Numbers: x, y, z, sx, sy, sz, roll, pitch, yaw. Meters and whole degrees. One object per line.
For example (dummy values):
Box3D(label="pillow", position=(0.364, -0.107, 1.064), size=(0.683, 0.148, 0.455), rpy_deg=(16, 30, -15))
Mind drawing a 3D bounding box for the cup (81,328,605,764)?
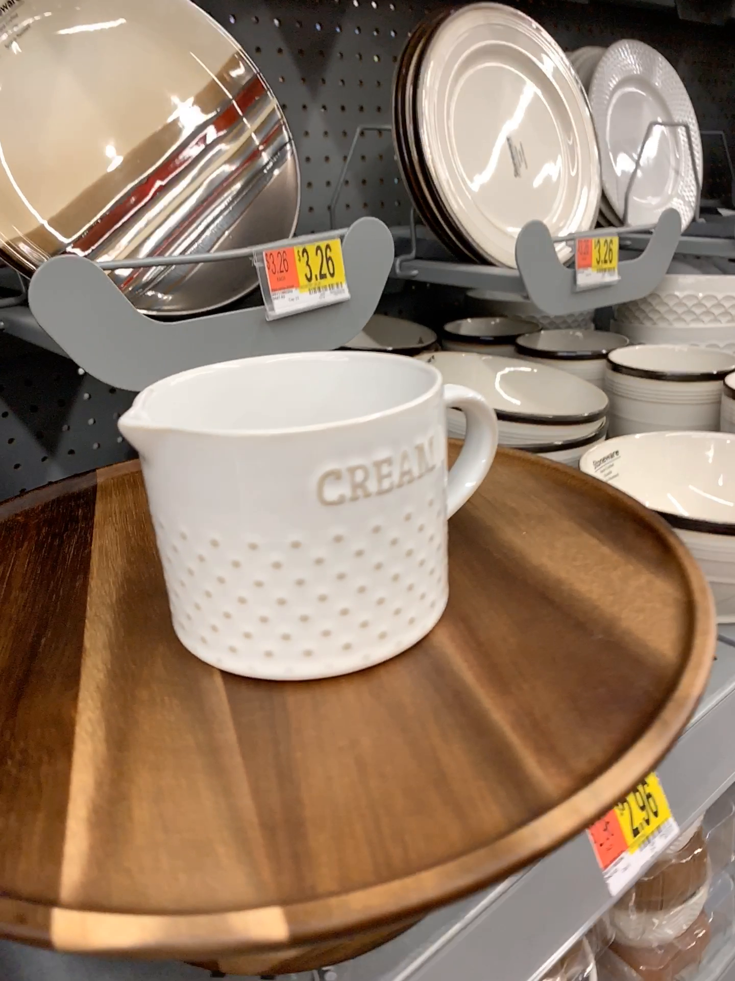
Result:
Box3D(label="cup", position=(-0.007, 0.003, 0.277), size=(0.150, 0.090, 0.100), rpy_deg=(-17, 27, -31))
